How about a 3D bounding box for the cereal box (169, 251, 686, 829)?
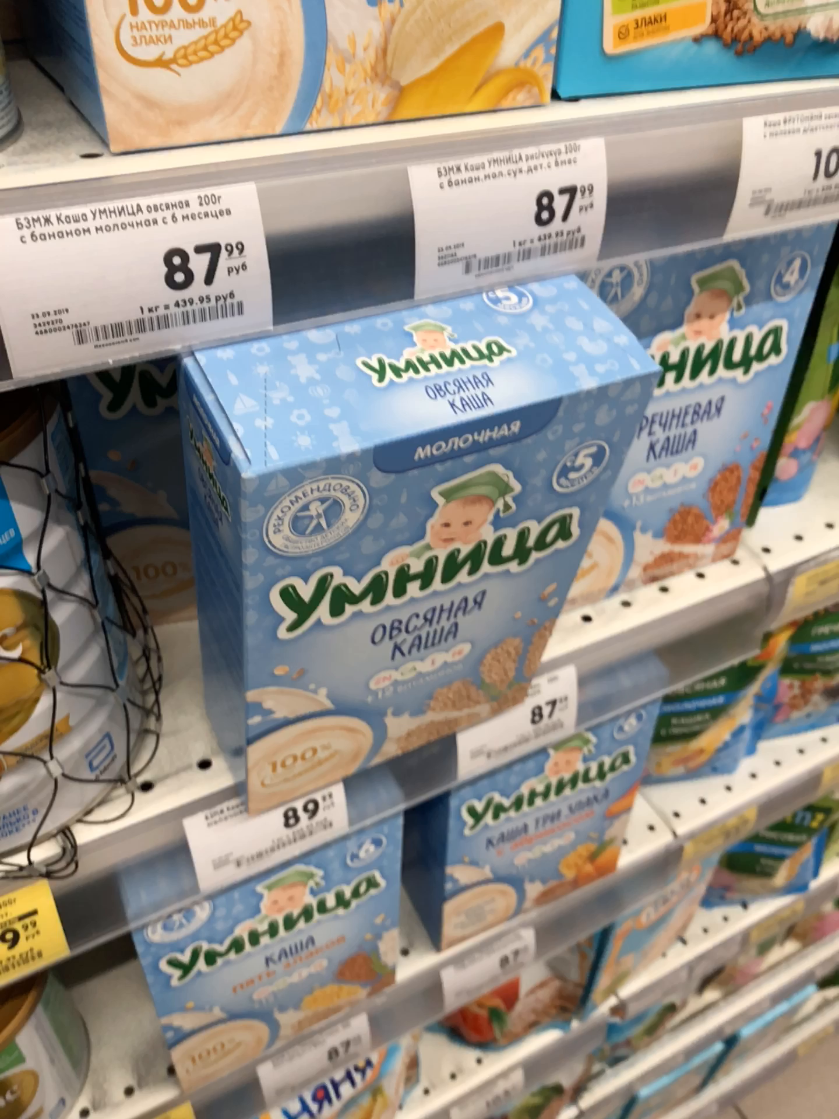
[{"bbox_3d":[-0.009,0.003,0.350,0.140,0.209,0.060,-17,55,-23],"label":"cereal box"}]
